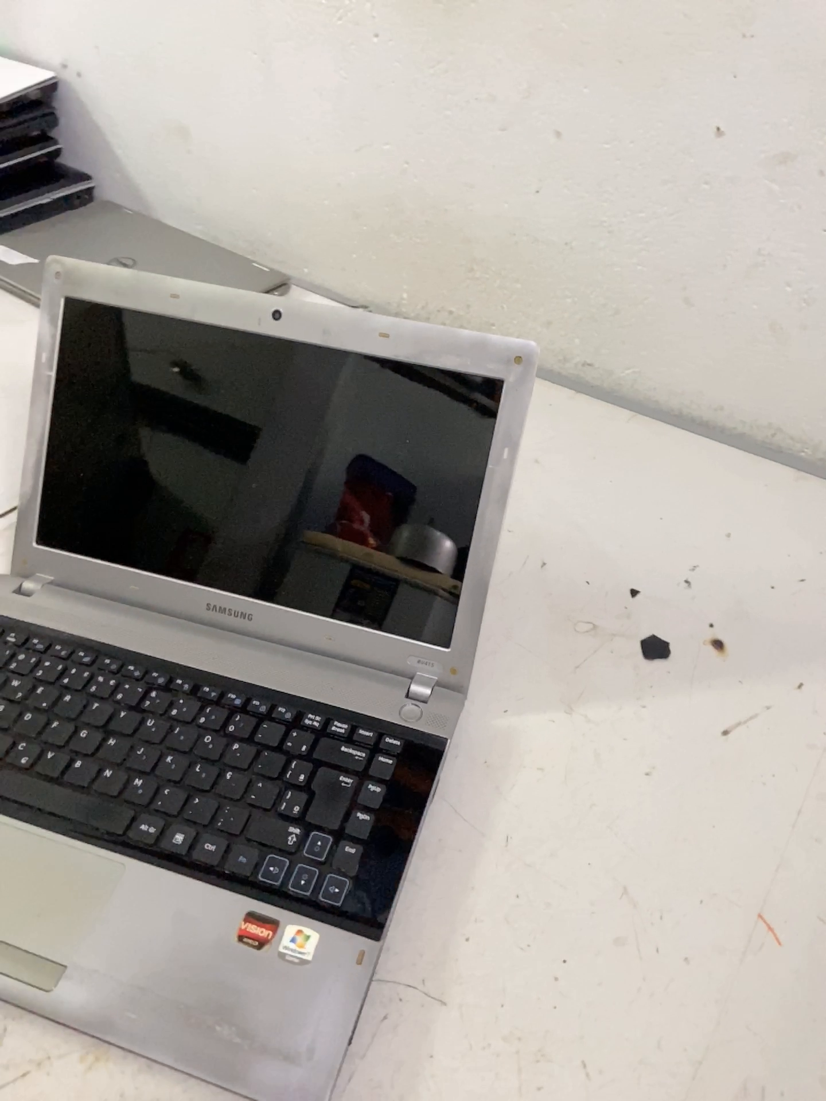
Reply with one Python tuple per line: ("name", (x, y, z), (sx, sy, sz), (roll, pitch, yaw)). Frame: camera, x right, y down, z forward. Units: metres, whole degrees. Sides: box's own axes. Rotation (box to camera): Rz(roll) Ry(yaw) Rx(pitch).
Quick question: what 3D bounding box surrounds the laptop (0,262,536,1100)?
("laptop", (-0.146, 0.024, 0.472), (0.342, 0.180, 0.368), (13, 43, 13))
